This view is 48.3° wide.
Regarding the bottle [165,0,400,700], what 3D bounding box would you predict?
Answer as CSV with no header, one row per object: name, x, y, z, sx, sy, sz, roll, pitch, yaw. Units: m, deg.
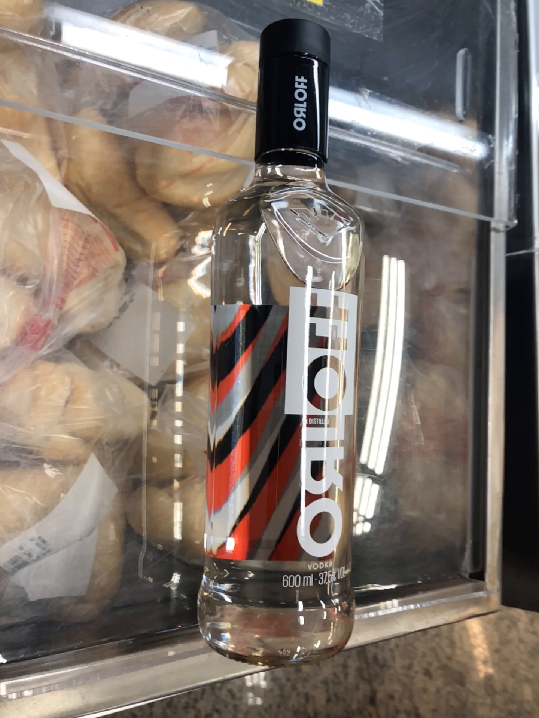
bottle,0.004,-0.019,0.279,0.070,0.070,0.300,4,88,-30
